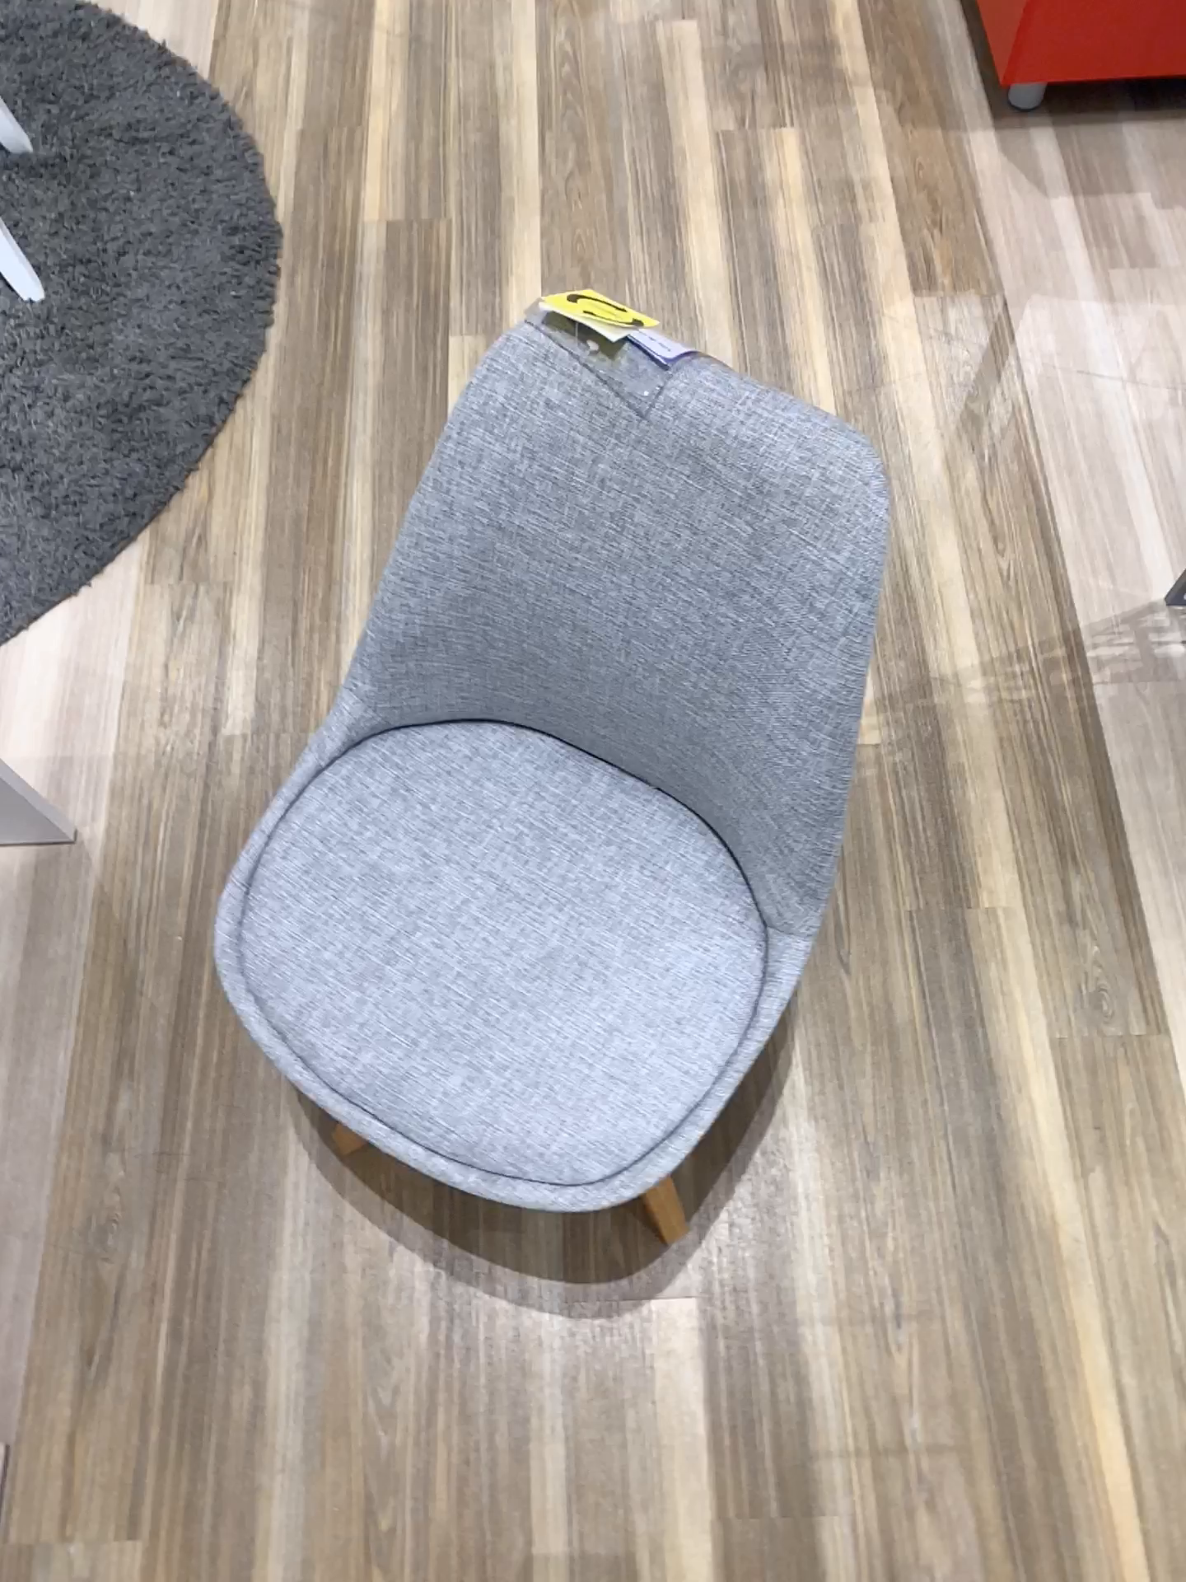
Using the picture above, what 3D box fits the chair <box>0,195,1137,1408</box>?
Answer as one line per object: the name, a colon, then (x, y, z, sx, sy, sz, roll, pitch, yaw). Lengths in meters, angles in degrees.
chair: (-0.039, 0.107, 1.033, 0.513, 0.858, 0.516, 27, 69, 13)
